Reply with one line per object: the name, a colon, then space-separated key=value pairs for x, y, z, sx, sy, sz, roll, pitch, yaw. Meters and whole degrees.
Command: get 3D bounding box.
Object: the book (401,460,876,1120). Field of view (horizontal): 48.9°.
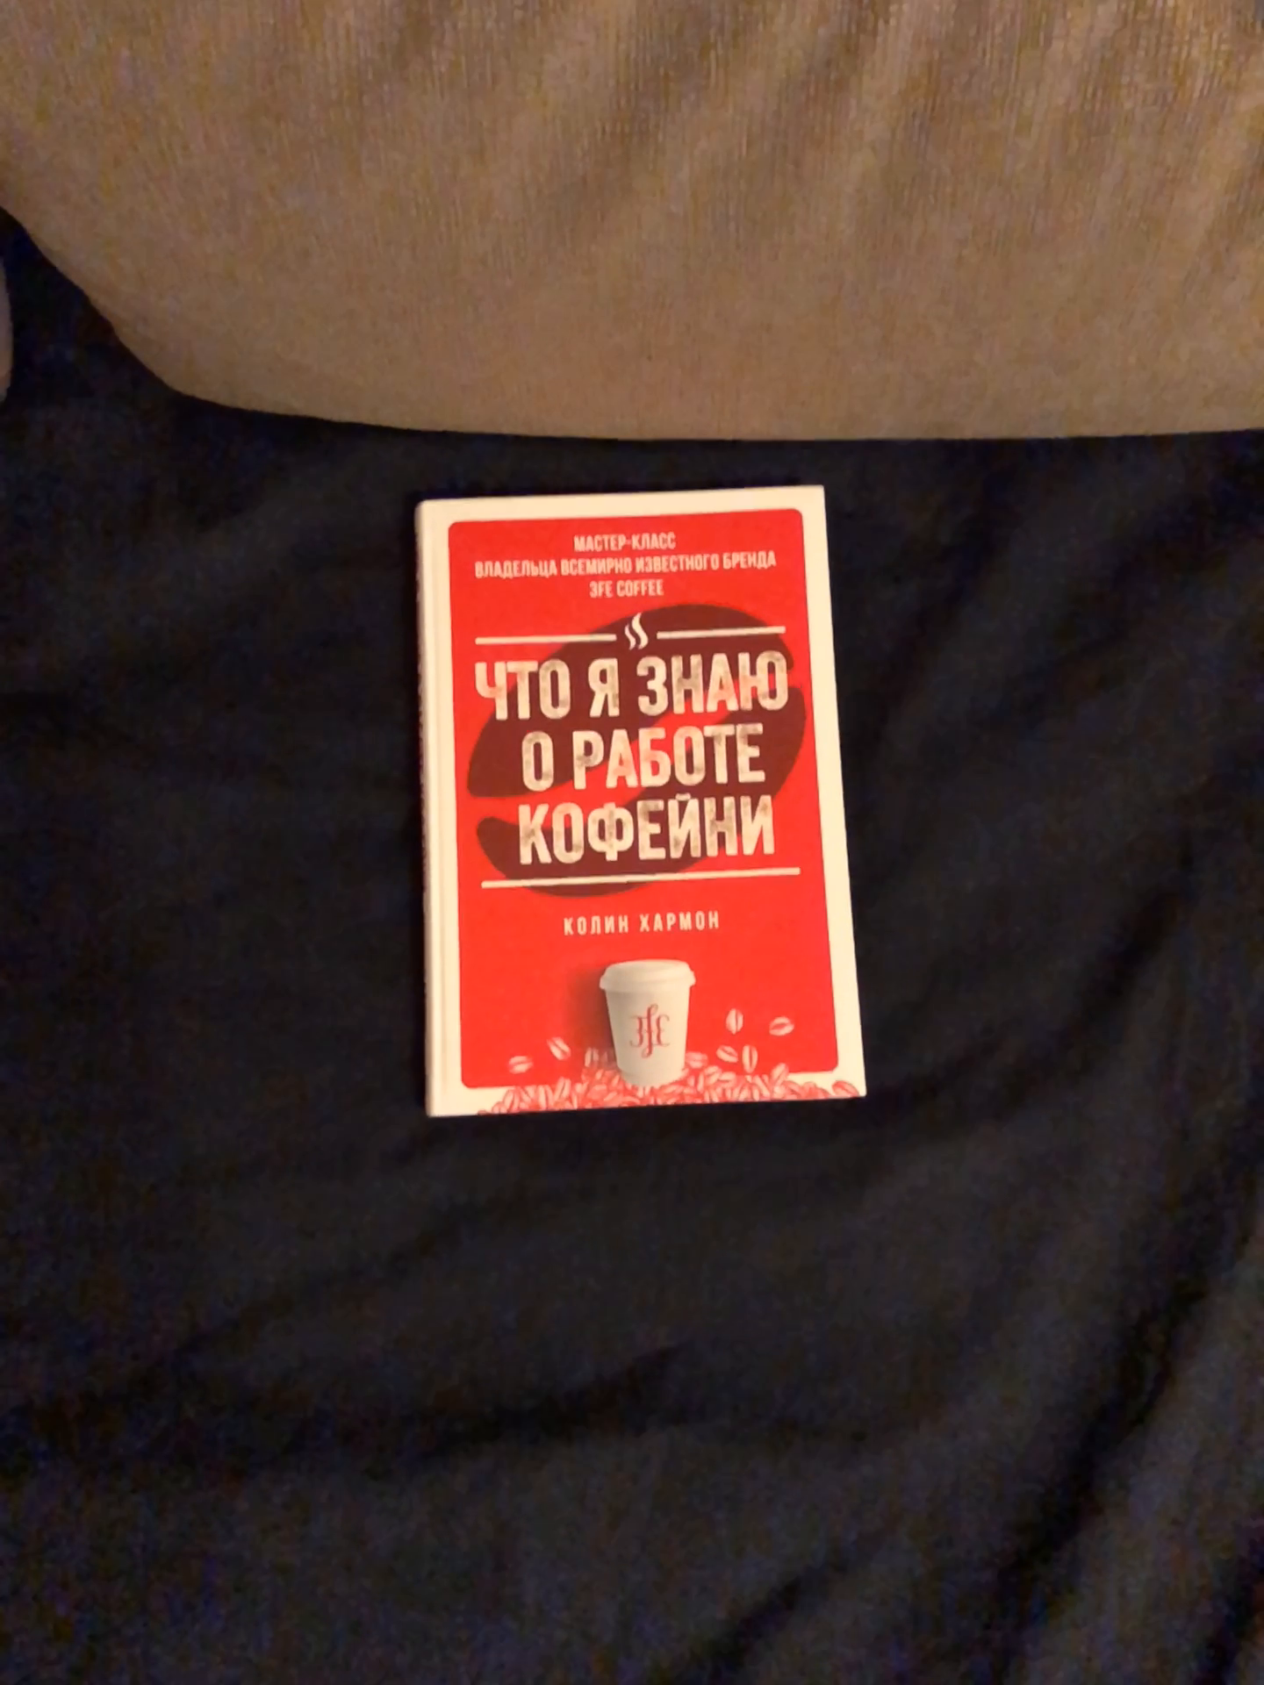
book: x=0.000 y=-0.020 z=0.484 sx=0.153 sy=0.020 sz=0.222 roll=-3 pitch=82 yaw=1
